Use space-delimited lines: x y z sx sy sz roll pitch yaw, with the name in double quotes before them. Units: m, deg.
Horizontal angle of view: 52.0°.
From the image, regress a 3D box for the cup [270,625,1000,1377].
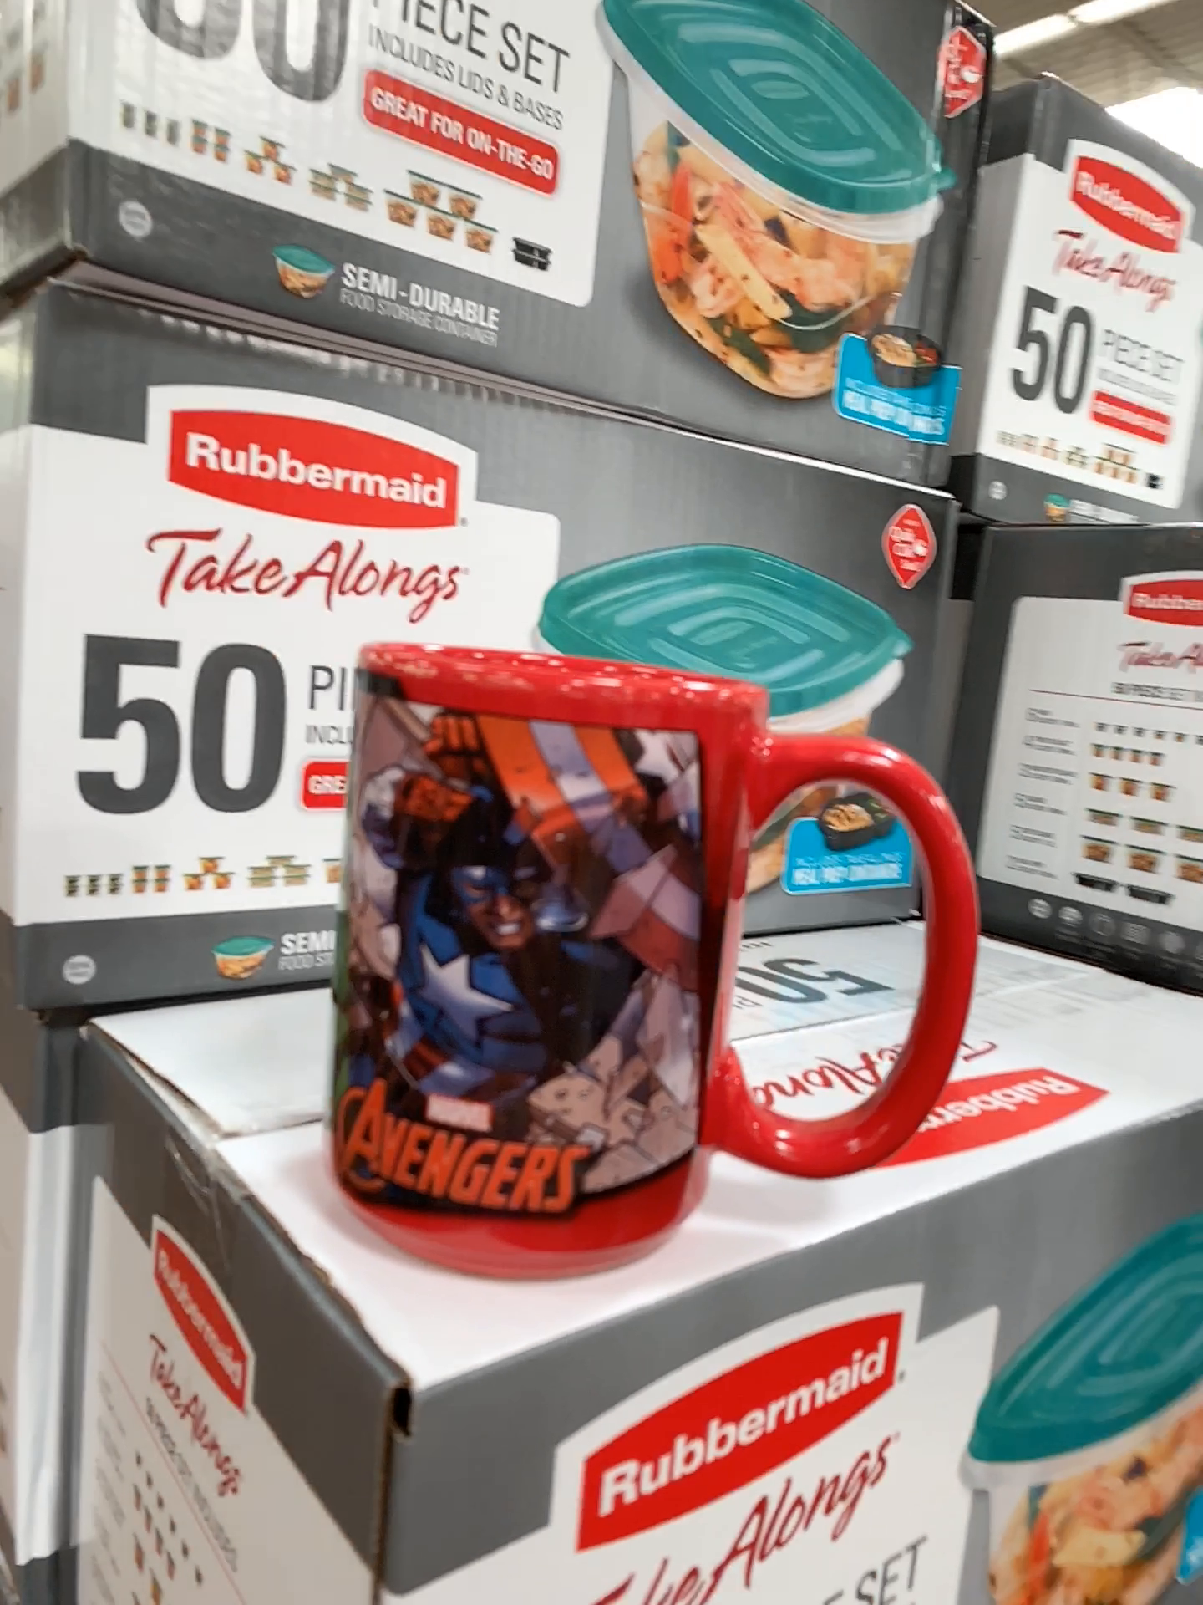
"cup" 0.010 0.027 0.262 0.119 0.114 0.100 7 11 11
